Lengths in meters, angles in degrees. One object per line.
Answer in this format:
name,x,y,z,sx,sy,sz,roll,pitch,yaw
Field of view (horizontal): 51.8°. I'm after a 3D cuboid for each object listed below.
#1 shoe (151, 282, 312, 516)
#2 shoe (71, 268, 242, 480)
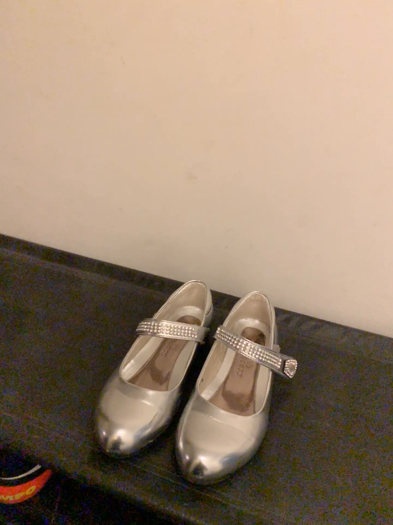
shoe,0.043,0.111,0.387,0.090,0.089,0.181,11,32,21
shoe,-0.026,0.096,0.412,0.090,0.089,0.181,11,32,21
